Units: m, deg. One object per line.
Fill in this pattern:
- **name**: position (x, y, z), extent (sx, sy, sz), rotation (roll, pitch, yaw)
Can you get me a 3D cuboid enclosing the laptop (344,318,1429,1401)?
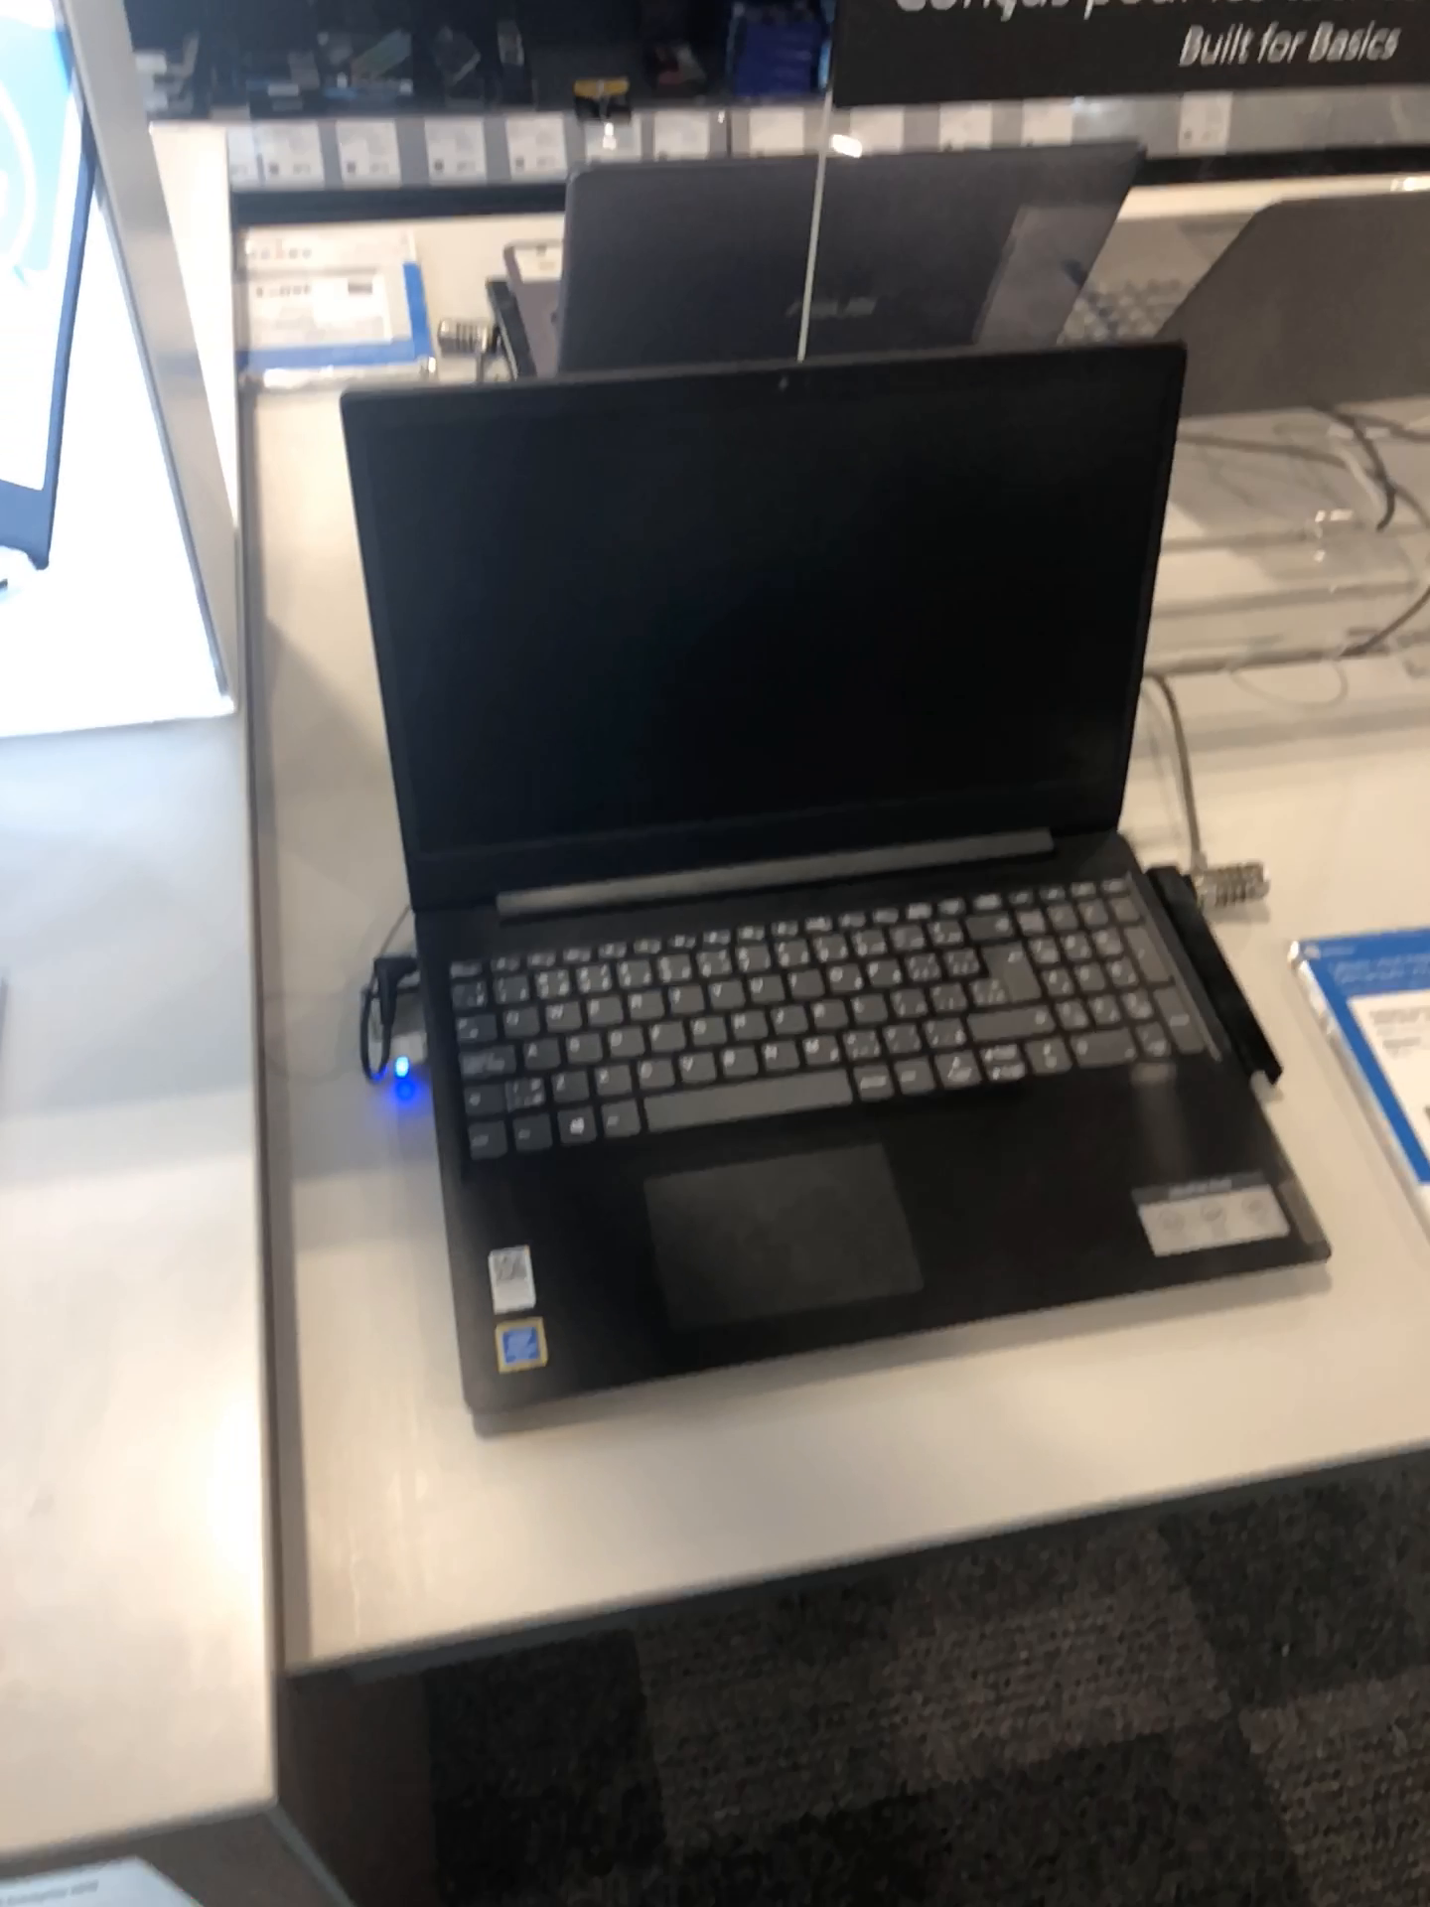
- **laptop**: position (0.052, -0.051, 0.627), extent (0.346, 0.213, 0.323), rotation (-7, 54, -10)
